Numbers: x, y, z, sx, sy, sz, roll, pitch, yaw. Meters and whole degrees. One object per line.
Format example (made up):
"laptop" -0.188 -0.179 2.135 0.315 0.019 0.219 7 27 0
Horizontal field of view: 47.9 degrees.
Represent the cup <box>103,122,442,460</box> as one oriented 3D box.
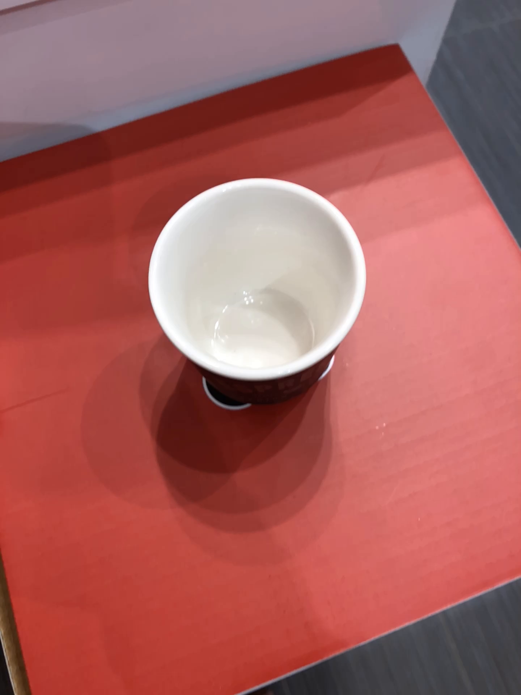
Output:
"cup" 0.003 -0.014 0.187 0.070 0.060 0.060 -34 72 -11
